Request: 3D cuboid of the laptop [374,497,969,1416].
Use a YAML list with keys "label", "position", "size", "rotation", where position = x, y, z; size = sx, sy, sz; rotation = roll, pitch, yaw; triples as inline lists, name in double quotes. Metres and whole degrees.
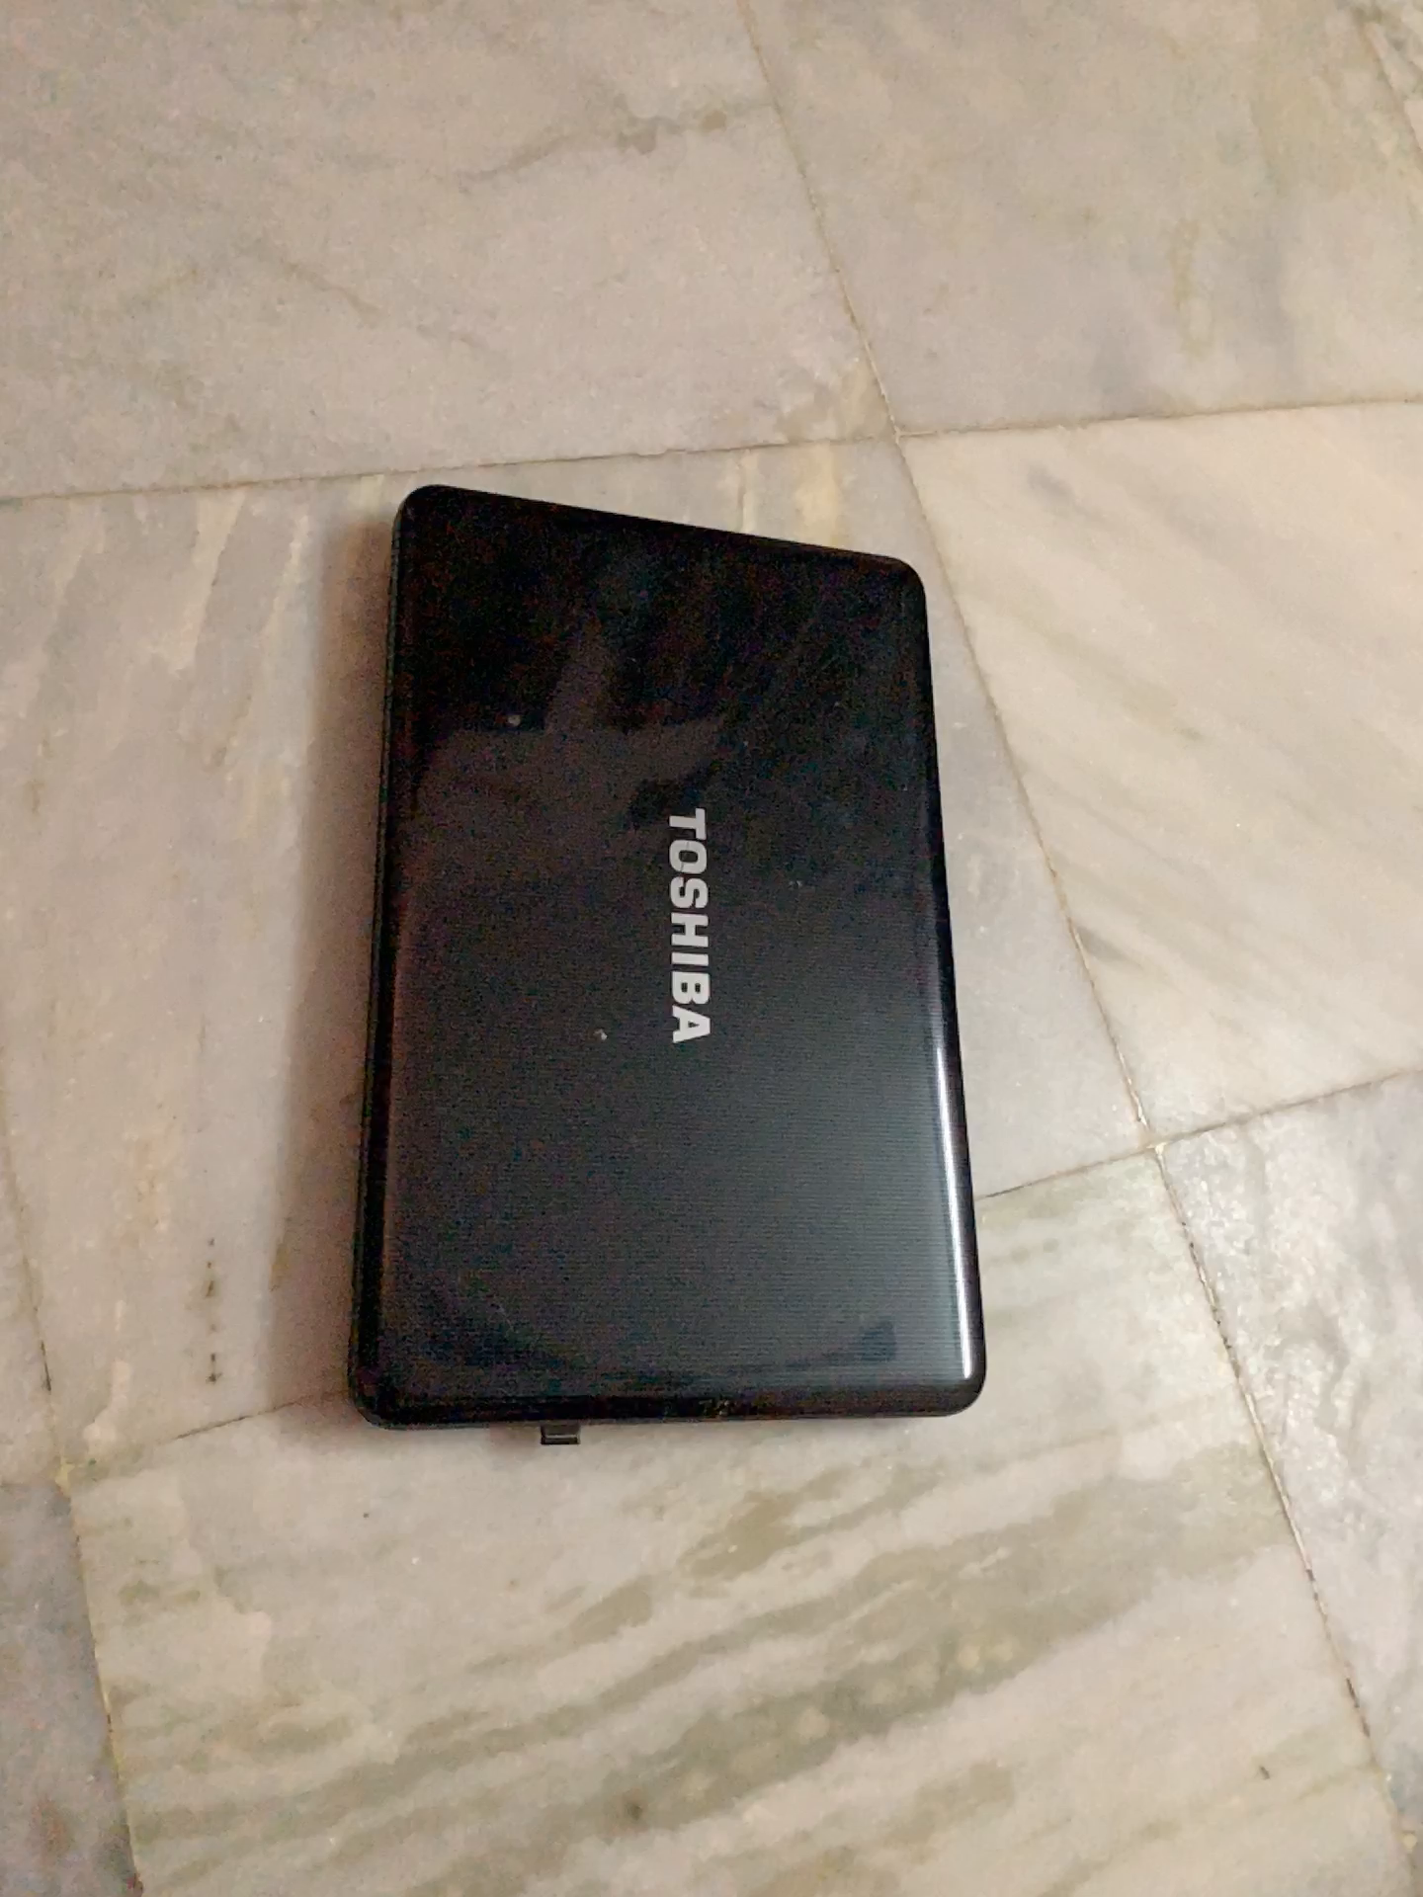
- label: "laptop"
  position: [-0.012, -0.006, 0.573]
  size: [0.222, 0.003, 0.355]
  rotation: [4, 72, -18]
